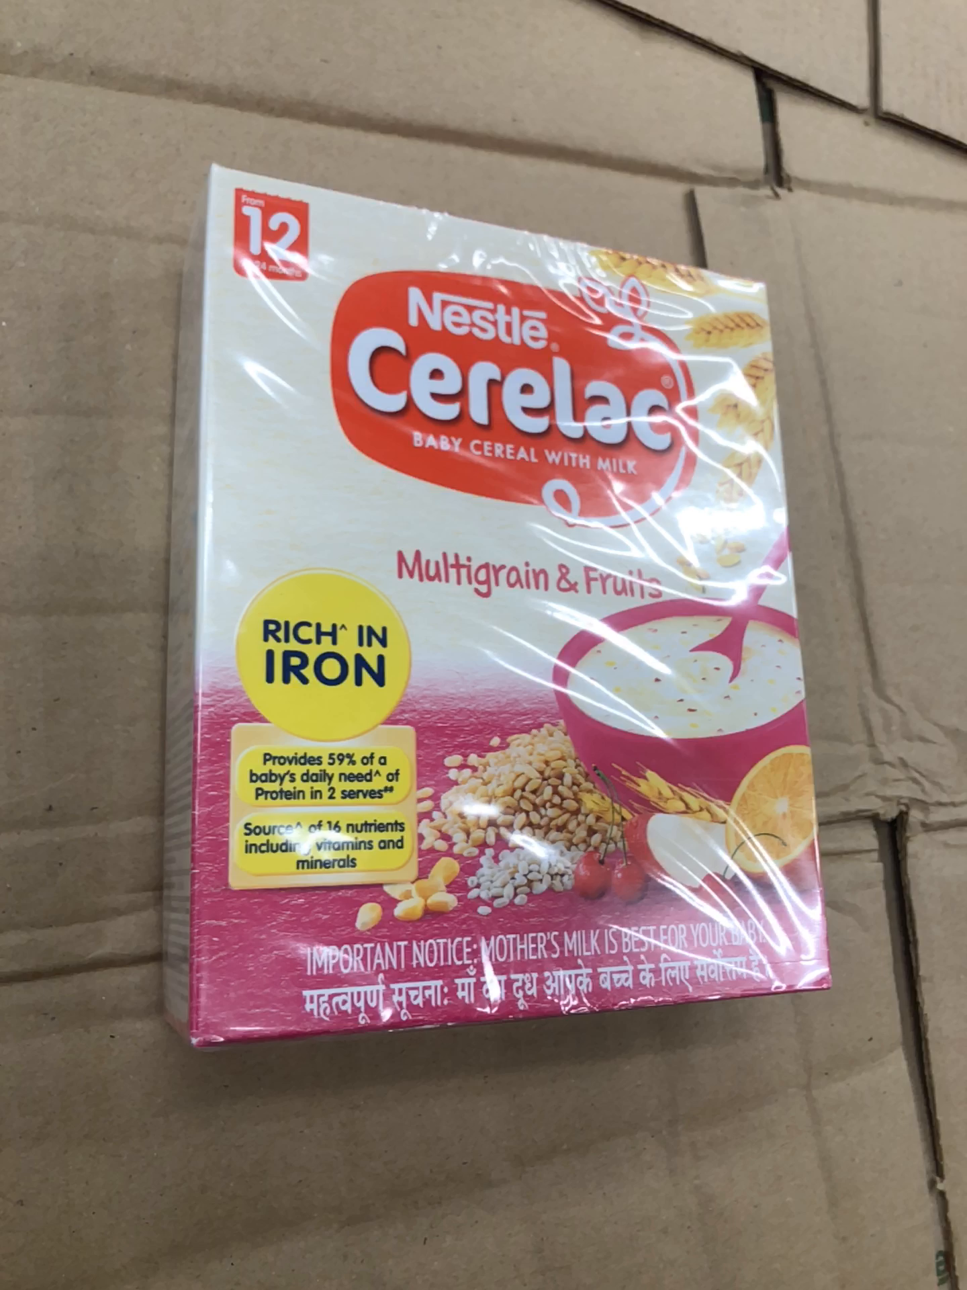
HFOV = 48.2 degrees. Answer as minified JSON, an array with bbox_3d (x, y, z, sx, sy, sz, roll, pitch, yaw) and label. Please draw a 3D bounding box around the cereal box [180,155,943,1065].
[{"bbox_3d":[0.017,-0.006,0.250,0.161,0.050,0.170,2,78,-22],"label":"cereal box"}]
